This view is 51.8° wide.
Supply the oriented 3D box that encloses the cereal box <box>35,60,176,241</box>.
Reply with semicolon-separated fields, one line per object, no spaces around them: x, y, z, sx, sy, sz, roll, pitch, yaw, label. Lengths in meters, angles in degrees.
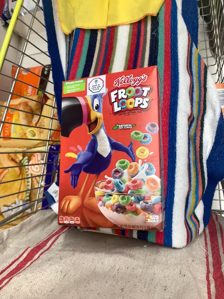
-0.012;0.004;0.377;0.210;0.060;0.250;-3;79;20;cereal box
